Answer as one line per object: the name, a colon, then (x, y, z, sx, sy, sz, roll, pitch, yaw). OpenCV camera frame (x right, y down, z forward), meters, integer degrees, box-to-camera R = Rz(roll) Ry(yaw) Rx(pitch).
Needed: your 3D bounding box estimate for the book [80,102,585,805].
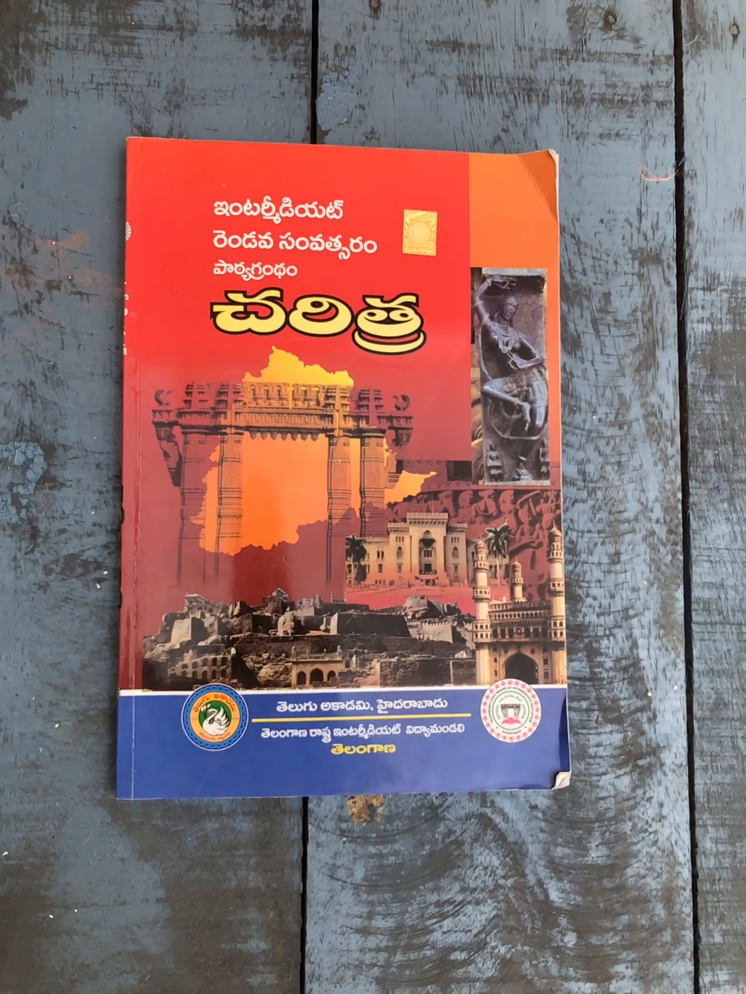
book: (-0.014, -0.019, 0.345, 0.190, 0.040, 0.270, 1, 84, -6)
